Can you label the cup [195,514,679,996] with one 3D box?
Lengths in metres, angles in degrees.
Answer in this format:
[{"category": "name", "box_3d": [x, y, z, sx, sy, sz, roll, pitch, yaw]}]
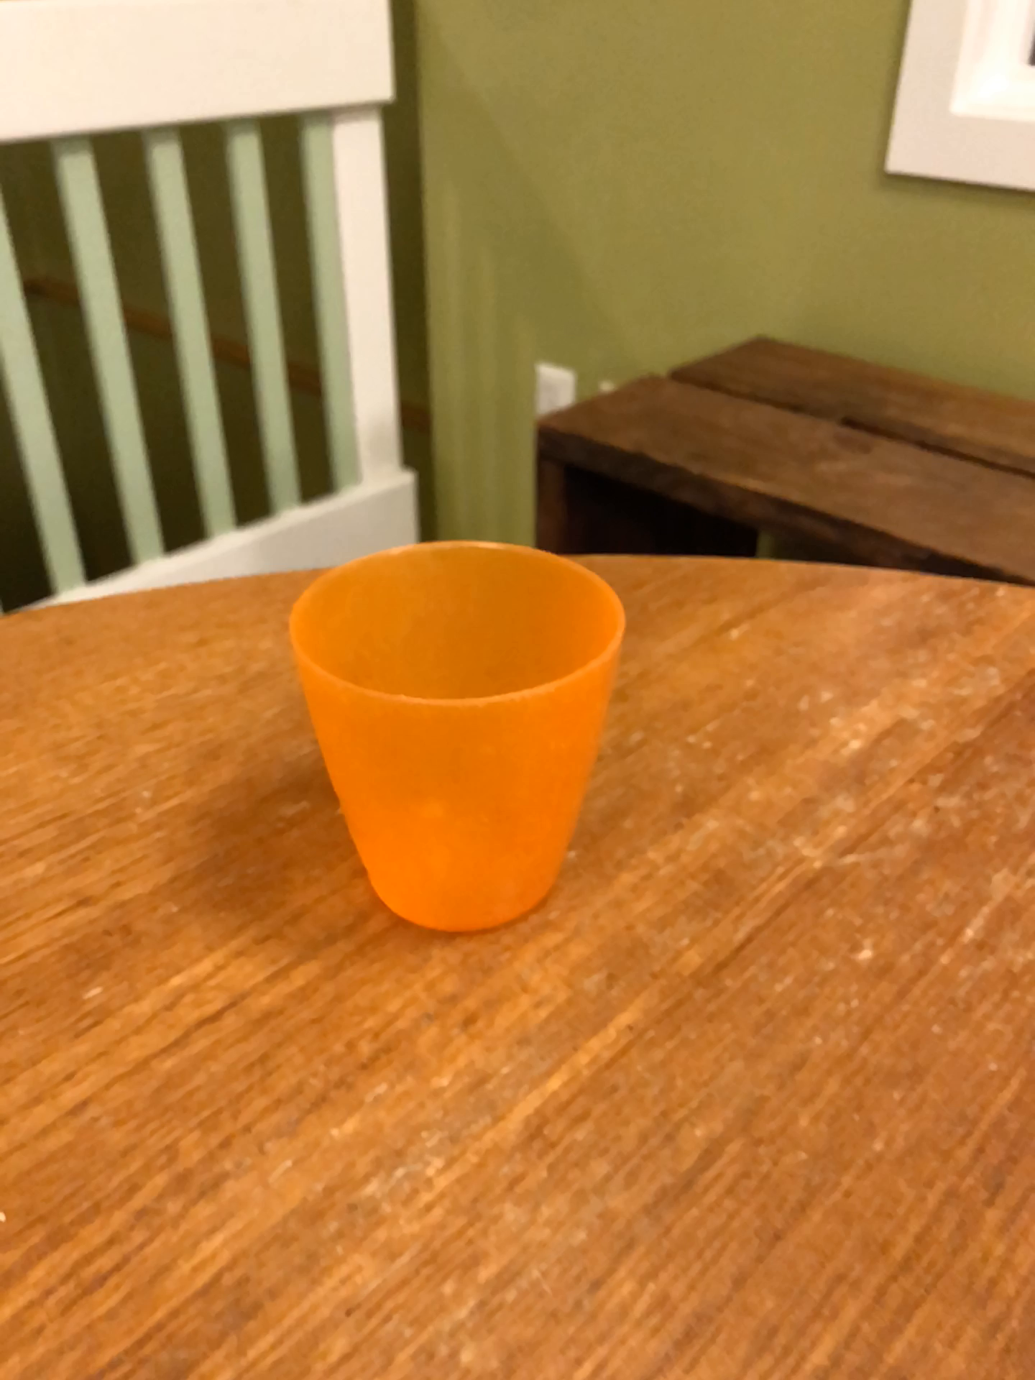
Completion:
[{"category": "cup", "box_3d": [-0.017, 0.010, 0.283, 0.079, 0.066, 0.080, 0, 32, 0]}]
